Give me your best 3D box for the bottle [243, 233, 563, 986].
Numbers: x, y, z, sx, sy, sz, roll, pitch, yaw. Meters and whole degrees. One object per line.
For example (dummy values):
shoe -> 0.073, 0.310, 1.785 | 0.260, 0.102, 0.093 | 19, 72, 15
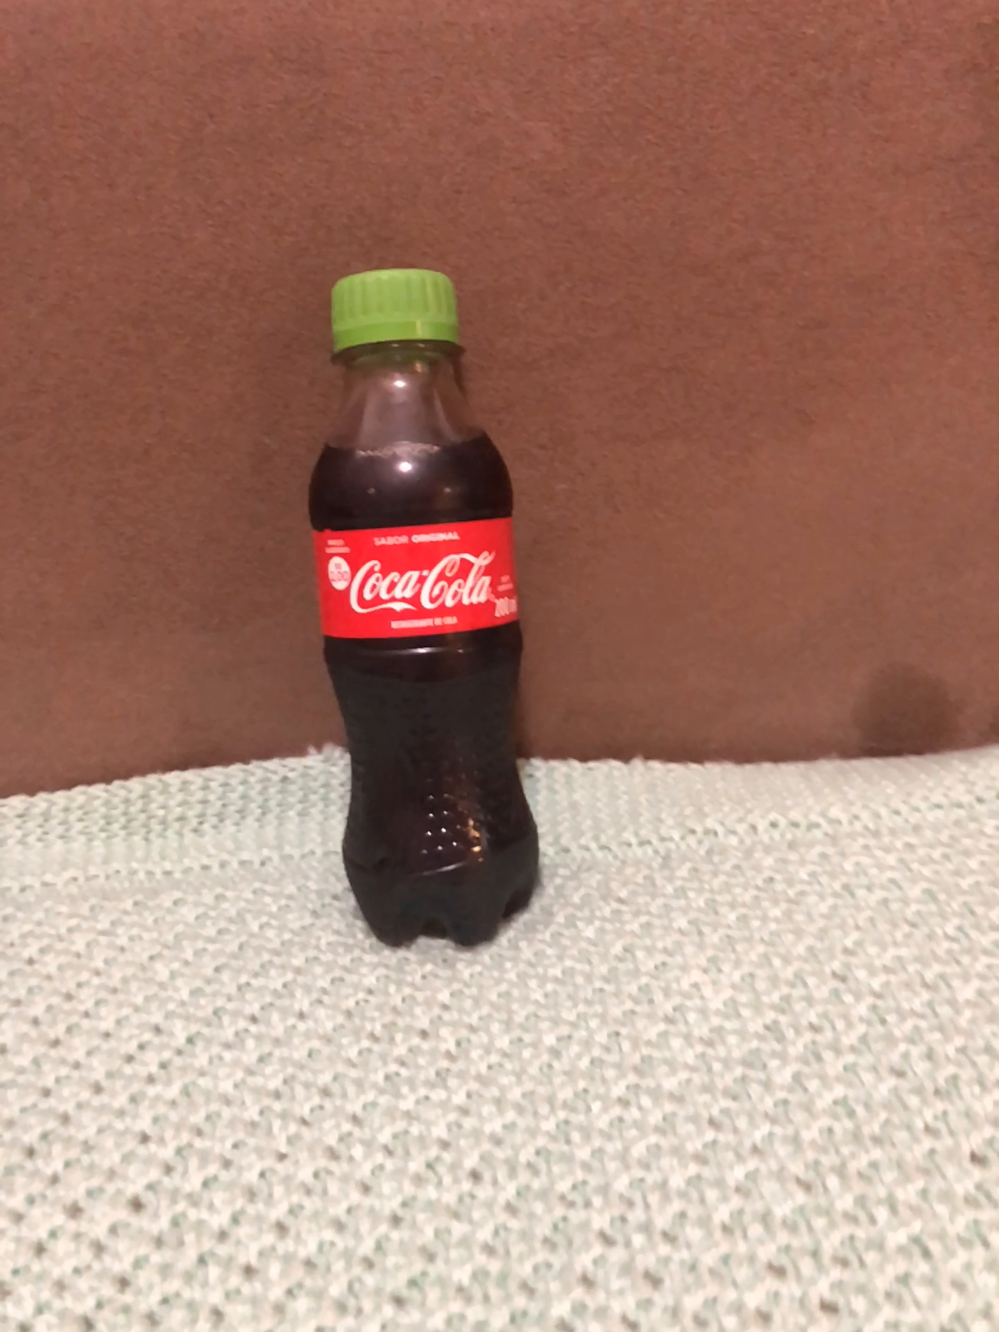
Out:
bottle -> -0.026, -0.015, 0.286 | 0.060, 0.169, 0.060 | -4, 10, 1
